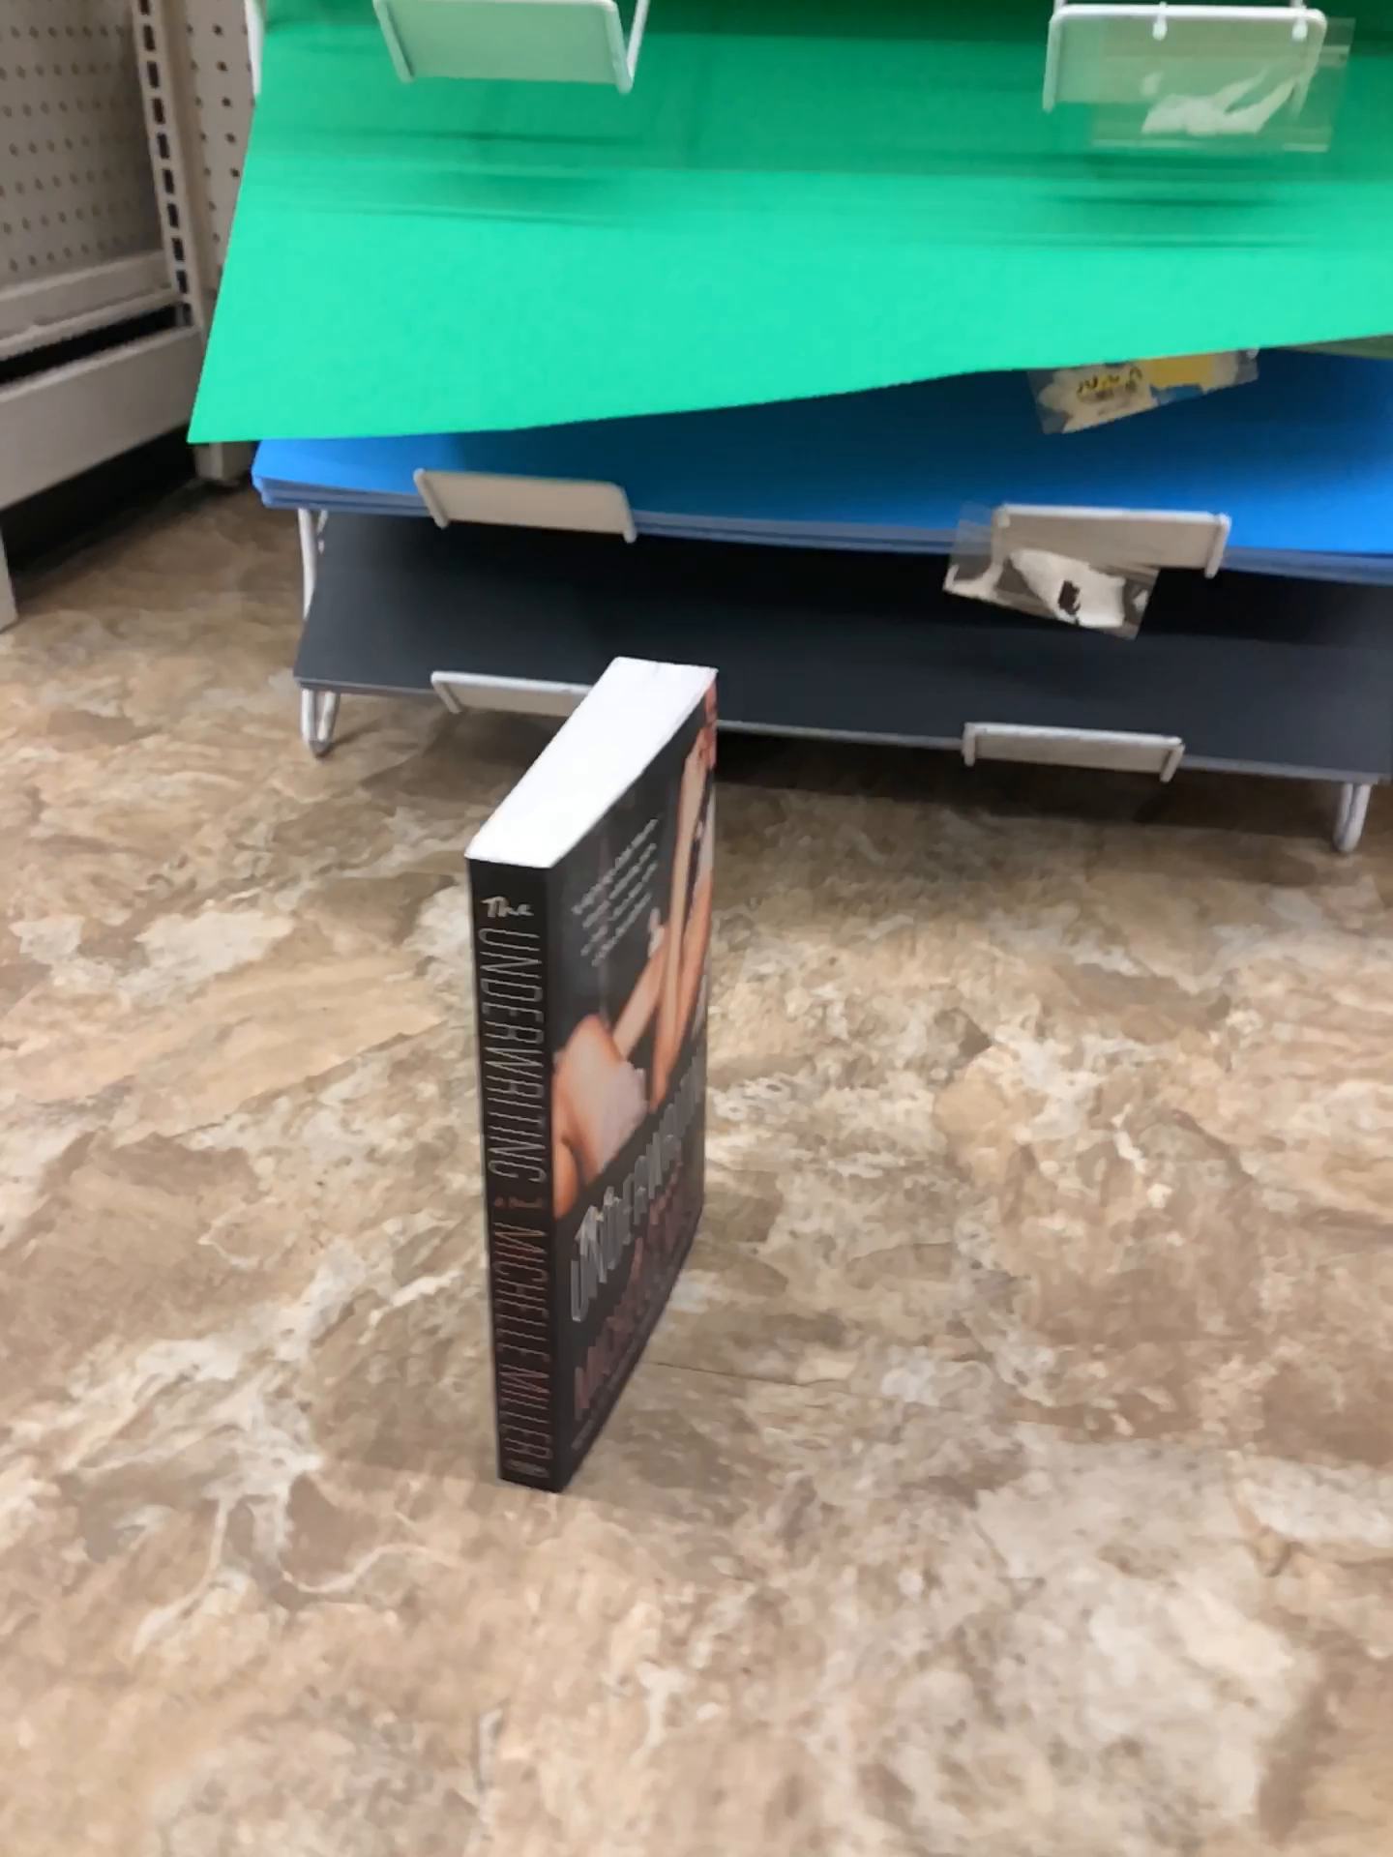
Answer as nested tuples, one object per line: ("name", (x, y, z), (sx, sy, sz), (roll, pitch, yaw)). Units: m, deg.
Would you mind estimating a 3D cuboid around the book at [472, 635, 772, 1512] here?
("book", (-0.015, 0.038, 0.440), (0.035, 0.203, 0.141), (9, 31, 13))
